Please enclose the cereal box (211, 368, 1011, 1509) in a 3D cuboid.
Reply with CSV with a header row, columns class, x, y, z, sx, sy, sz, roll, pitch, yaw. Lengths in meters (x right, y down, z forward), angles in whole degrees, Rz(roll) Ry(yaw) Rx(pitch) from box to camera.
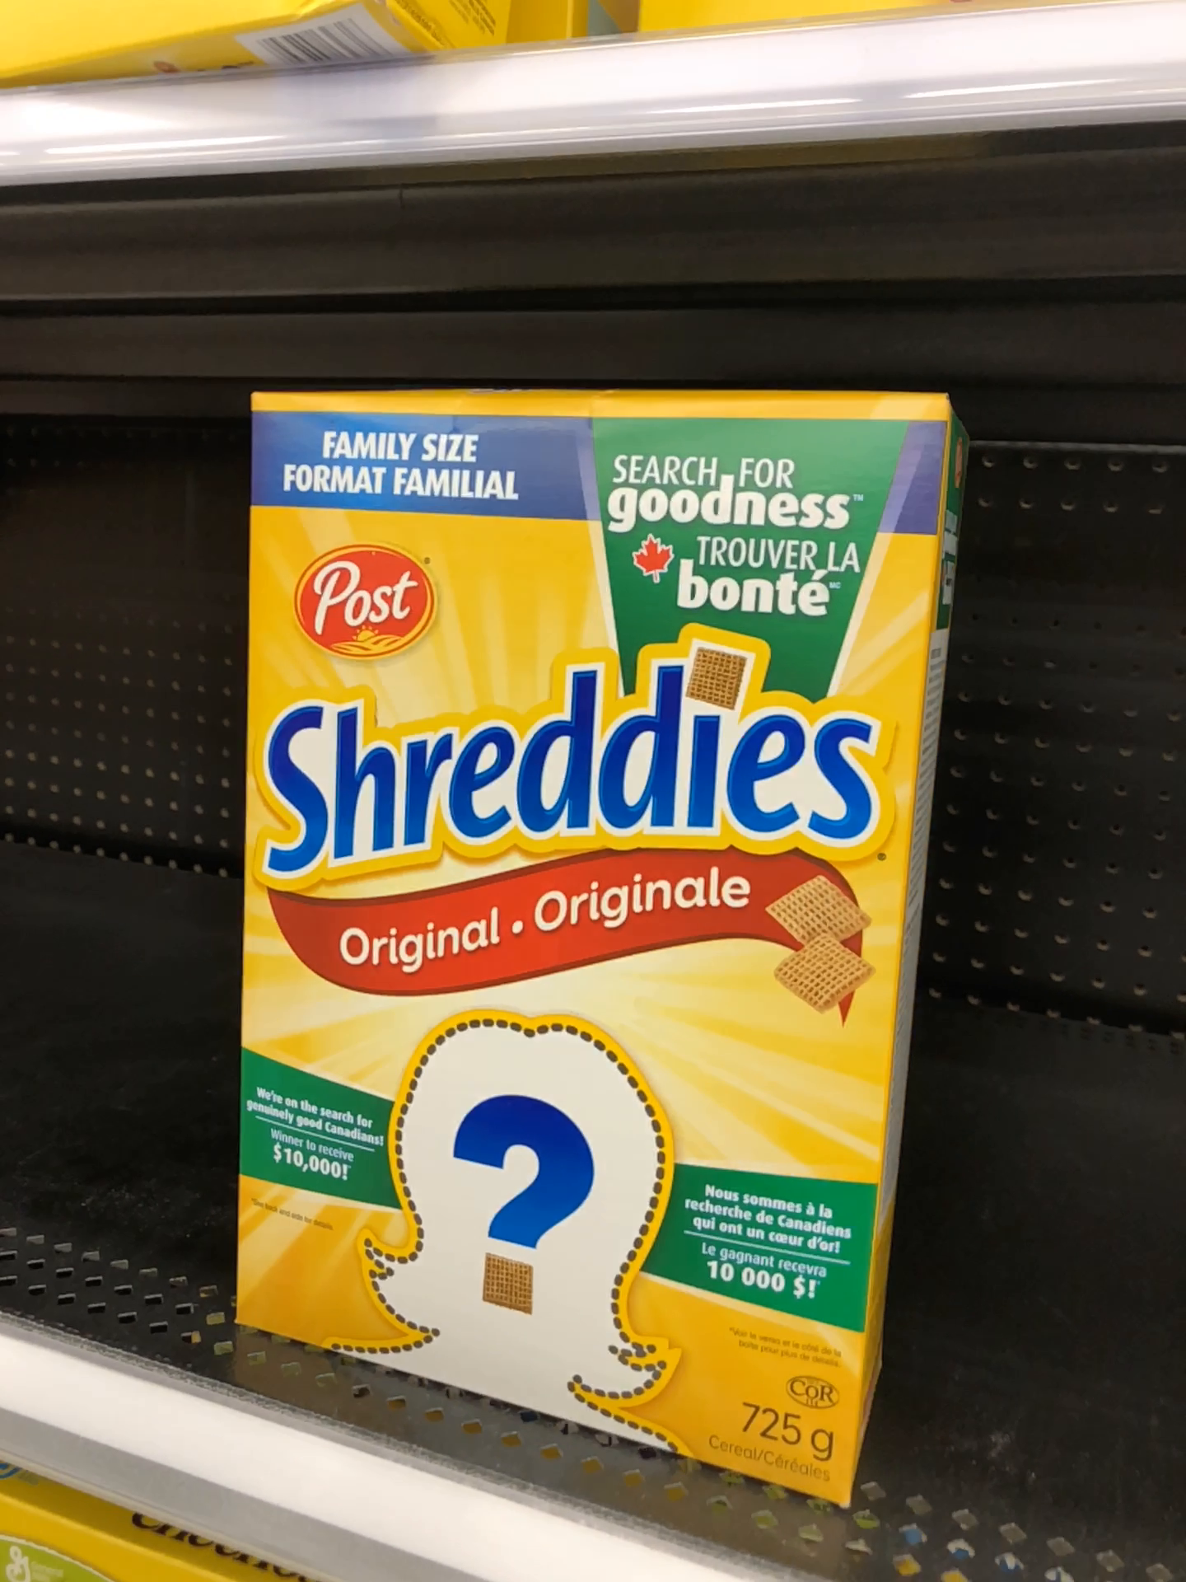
class,x,y,z,sx,sy,sz,roll,pitch,yaw
cereal box,-0.002,0.029,0.393,0.210,0.289,0.070,7,8,20
